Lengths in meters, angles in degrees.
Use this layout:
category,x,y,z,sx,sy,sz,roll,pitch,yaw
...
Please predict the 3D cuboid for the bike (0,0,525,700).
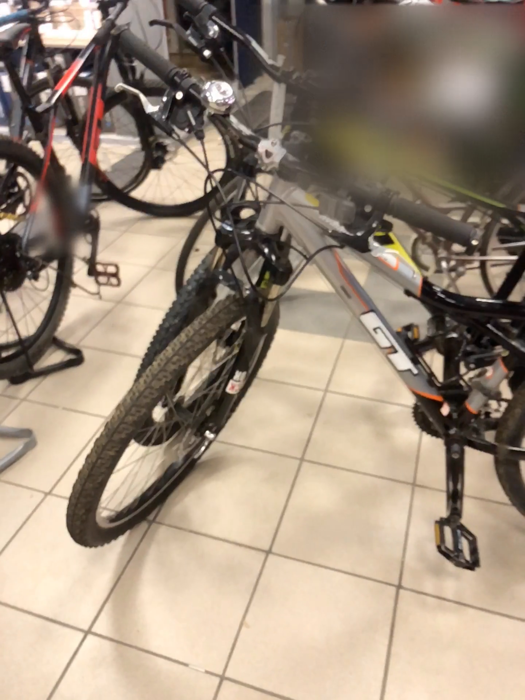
category,x,y,z,sx,sy,sz,roll,pitch,yaw
bike,0.402,0.035,0.934,1.424,1.012,0.628,-1,35,-2
